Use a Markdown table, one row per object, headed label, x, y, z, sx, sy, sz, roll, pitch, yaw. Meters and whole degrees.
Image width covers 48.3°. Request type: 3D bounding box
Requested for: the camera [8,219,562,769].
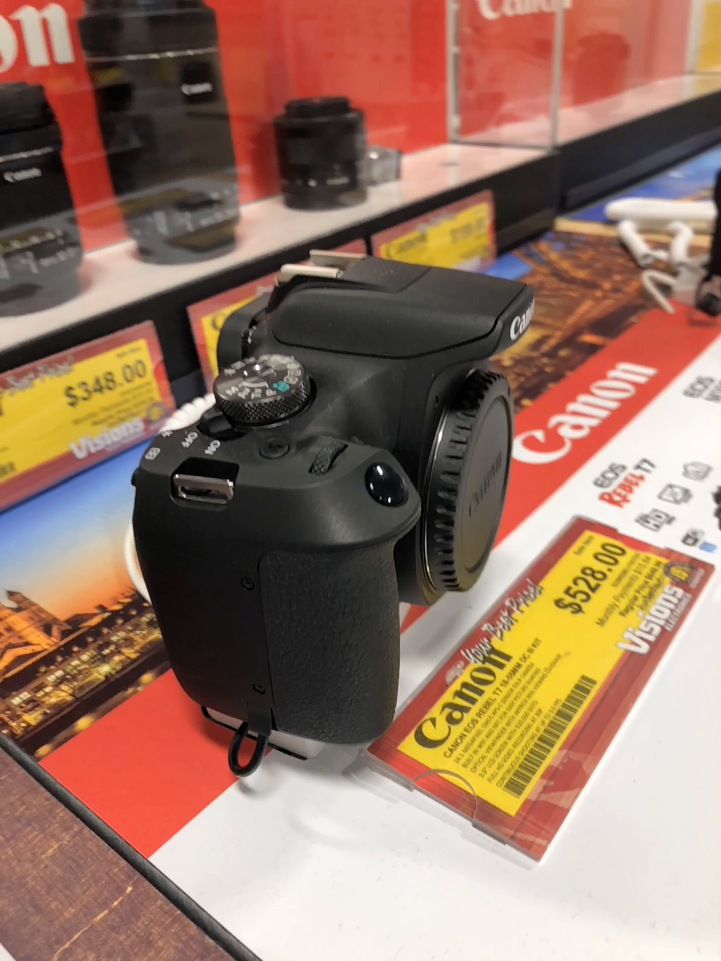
| label | x | y | z | sx | sy | sz | roll | pitch | yaw |
| --- | --- | --- | --- | --- | --- | --- | --- | --- | --- |
| camera | -0.005 | -0.012 | 0.229 | 0.090 | 0.089 | 0.131 | 10 | 33 | 24 |
